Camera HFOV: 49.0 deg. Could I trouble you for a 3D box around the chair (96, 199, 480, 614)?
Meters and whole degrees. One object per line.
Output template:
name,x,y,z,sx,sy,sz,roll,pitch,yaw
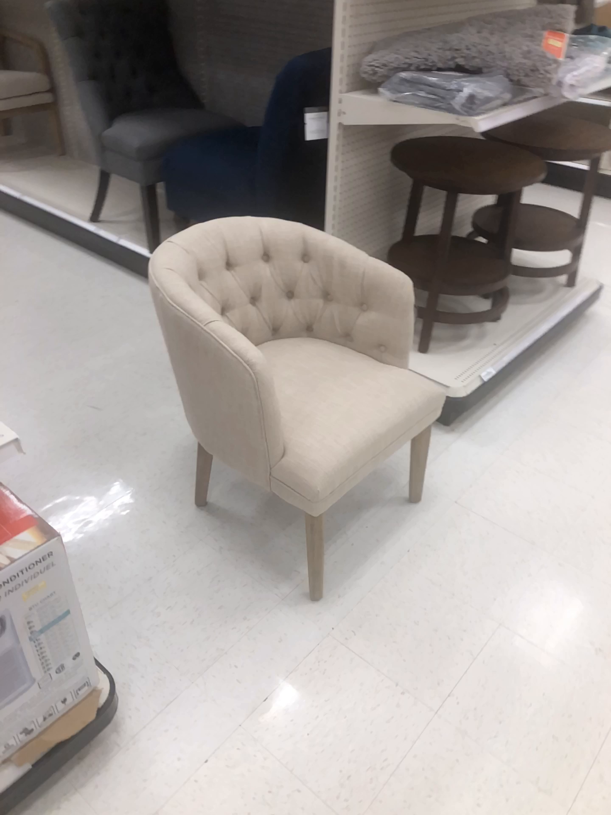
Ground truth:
chair,-0.045,-0.048,1.743,0.682,0.700,0.563,26,42,29
